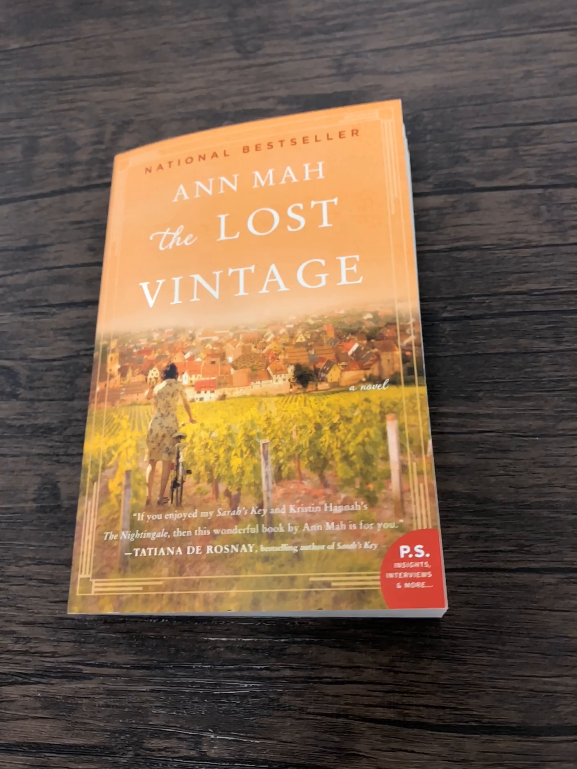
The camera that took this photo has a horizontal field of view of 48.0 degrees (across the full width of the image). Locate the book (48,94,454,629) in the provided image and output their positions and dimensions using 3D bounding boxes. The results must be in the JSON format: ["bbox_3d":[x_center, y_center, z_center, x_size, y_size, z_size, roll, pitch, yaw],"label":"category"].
[{"bbox_3d":[-0.013,-0.010,0.258,0.134,0.040,0.200,-5,70,11],"label":"book"}]
